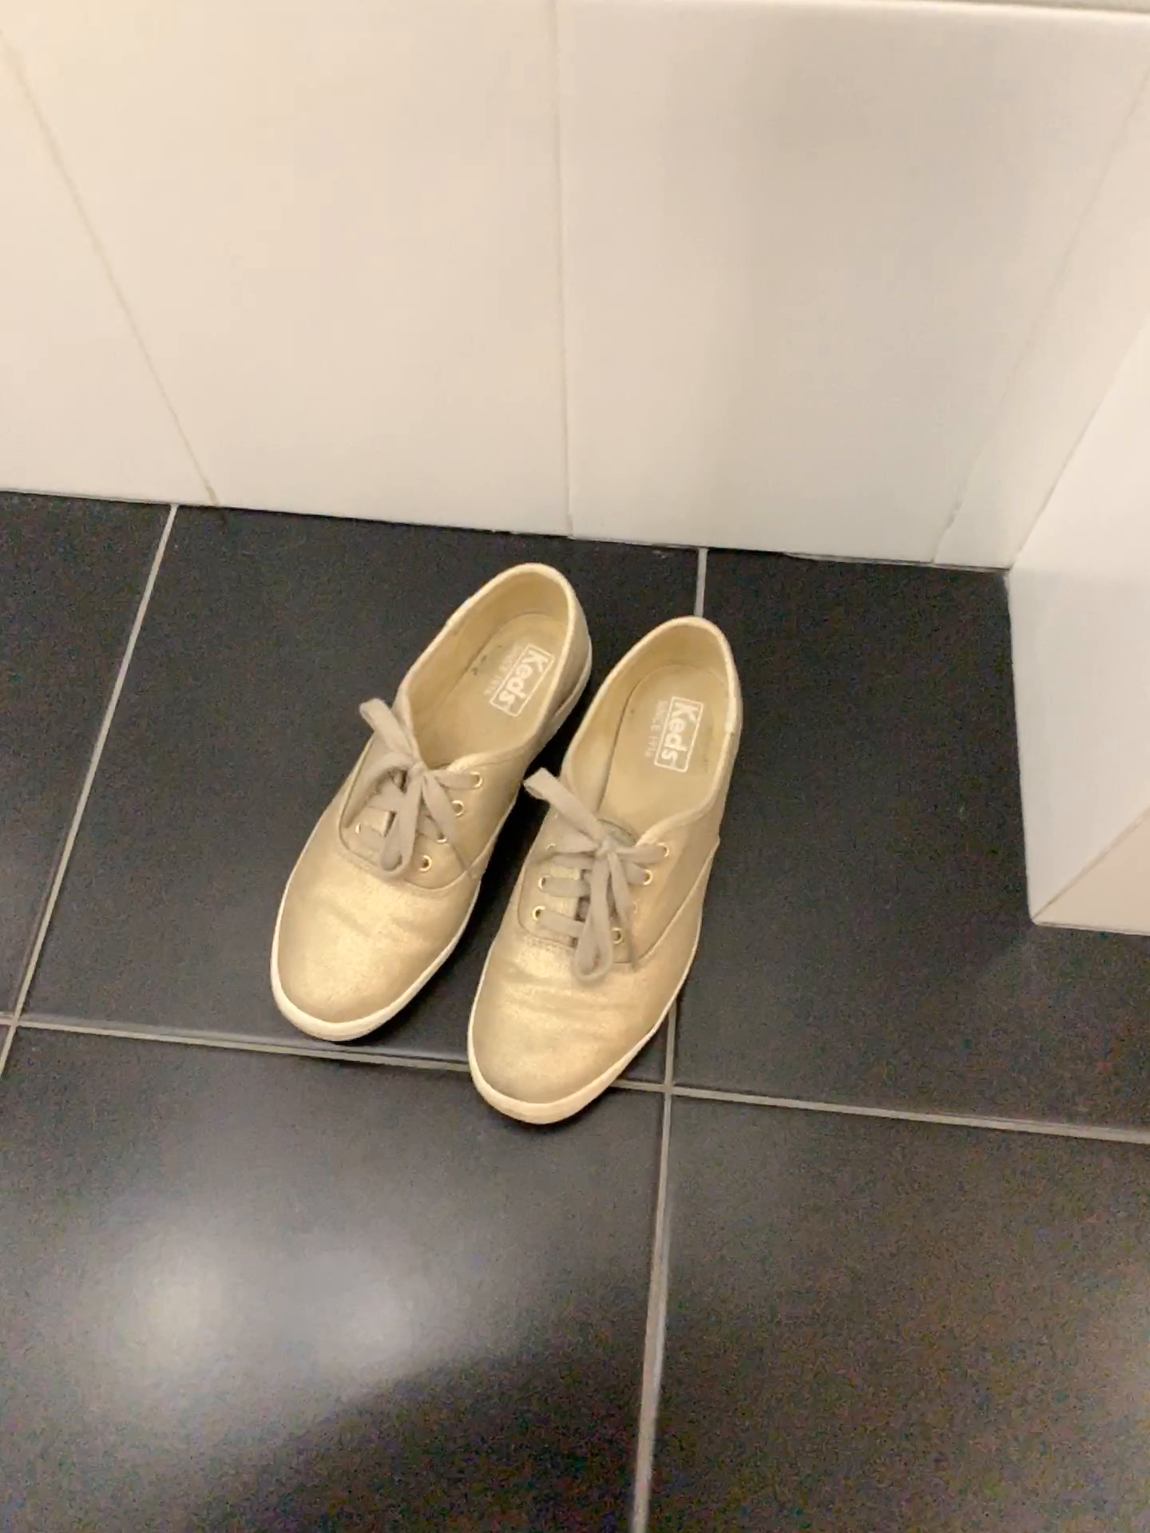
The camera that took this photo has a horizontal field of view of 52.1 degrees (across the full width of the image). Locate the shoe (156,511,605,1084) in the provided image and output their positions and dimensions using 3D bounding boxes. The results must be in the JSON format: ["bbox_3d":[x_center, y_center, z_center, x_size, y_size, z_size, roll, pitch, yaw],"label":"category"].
[{"bbox_3d":[-0.076,0.012,0.545,0.090,0.100,0.230,23,66,11],"label":"shoe"}]

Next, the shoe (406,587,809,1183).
[{"bbox_3d":[0.020,0.051,0.528,0.090,0.100,0.230,19,65,9],"label":"shoe"}]
